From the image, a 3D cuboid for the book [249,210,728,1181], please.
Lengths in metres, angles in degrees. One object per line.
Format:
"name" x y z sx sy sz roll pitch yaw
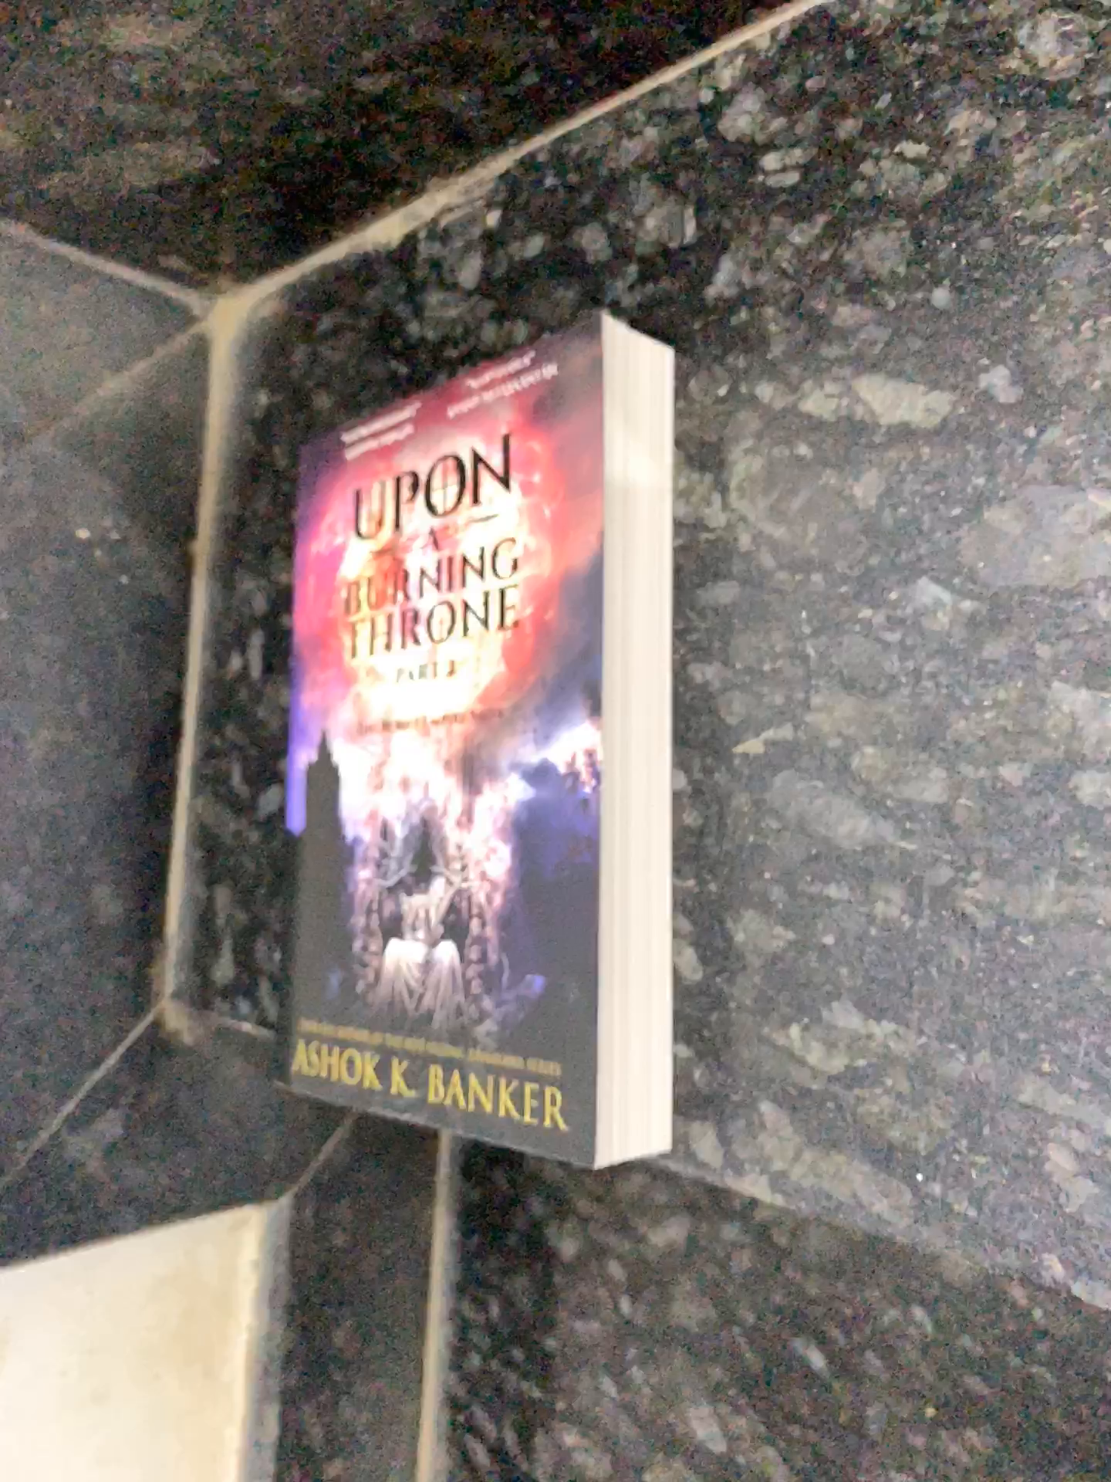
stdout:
"book" -0.023 -0.008 0.297 0.141 0.030 0.200 -5 81 44
